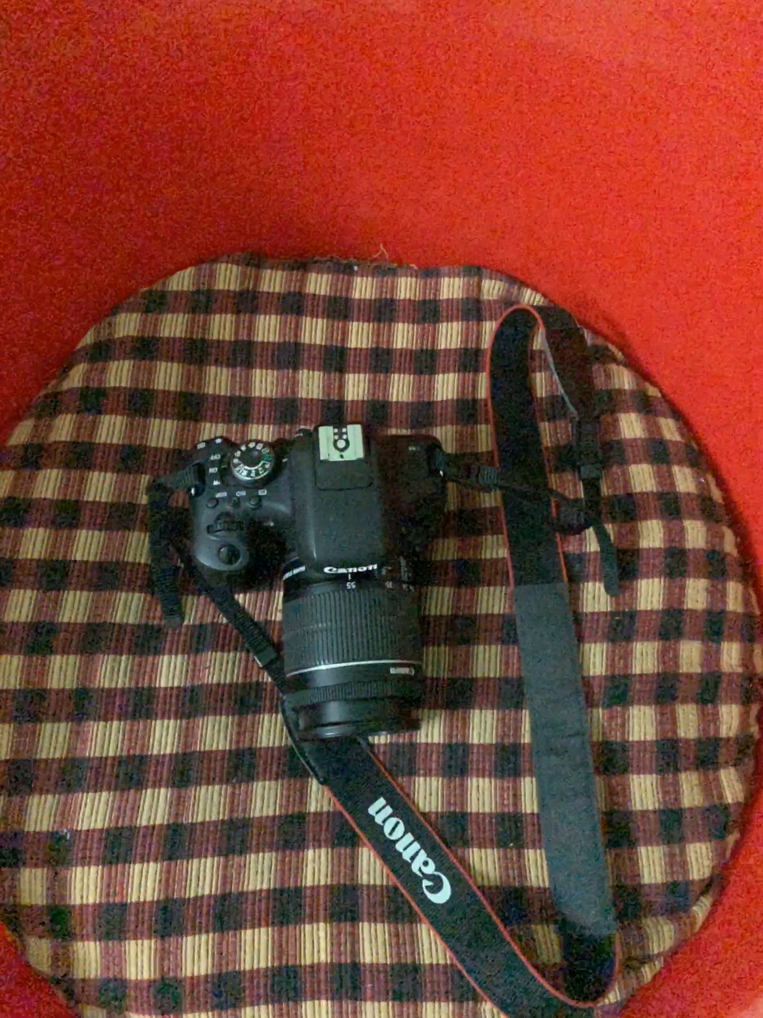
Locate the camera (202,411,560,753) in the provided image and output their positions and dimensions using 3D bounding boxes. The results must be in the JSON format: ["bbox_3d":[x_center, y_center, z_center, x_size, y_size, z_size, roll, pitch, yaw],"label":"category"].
[{"bbox_3d":[-0.004,0.042,0.385,0.140,0.130,0.138,-1,76,-2],"label":"camera"}]
